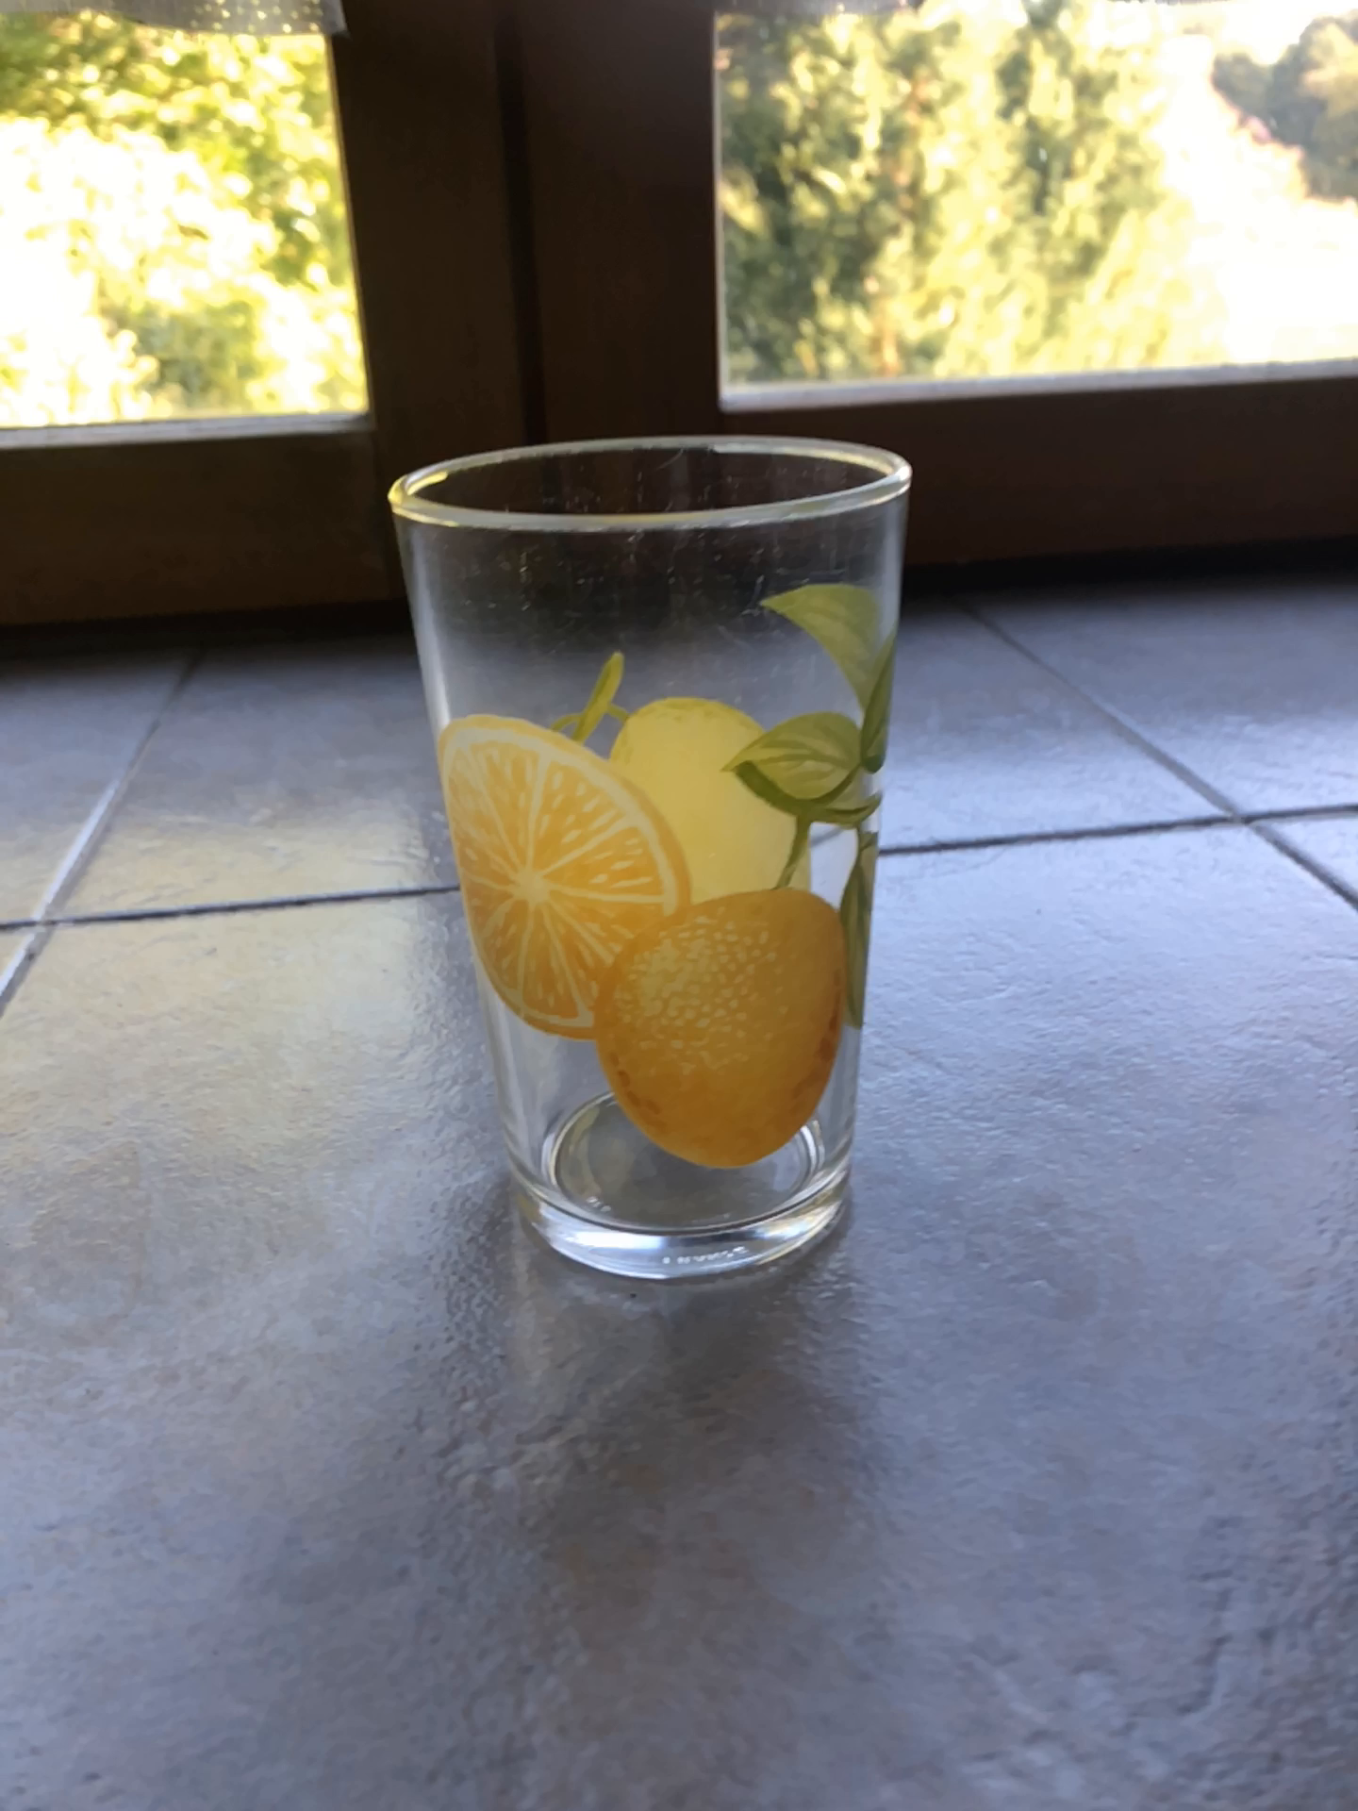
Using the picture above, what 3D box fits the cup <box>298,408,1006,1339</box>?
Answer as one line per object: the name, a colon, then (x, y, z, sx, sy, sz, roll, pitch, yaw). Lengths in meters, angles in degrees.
cup: (-0.002, -0.011, 0.233, 0.070, 0.112, 0.069, -2, 26, 1)
